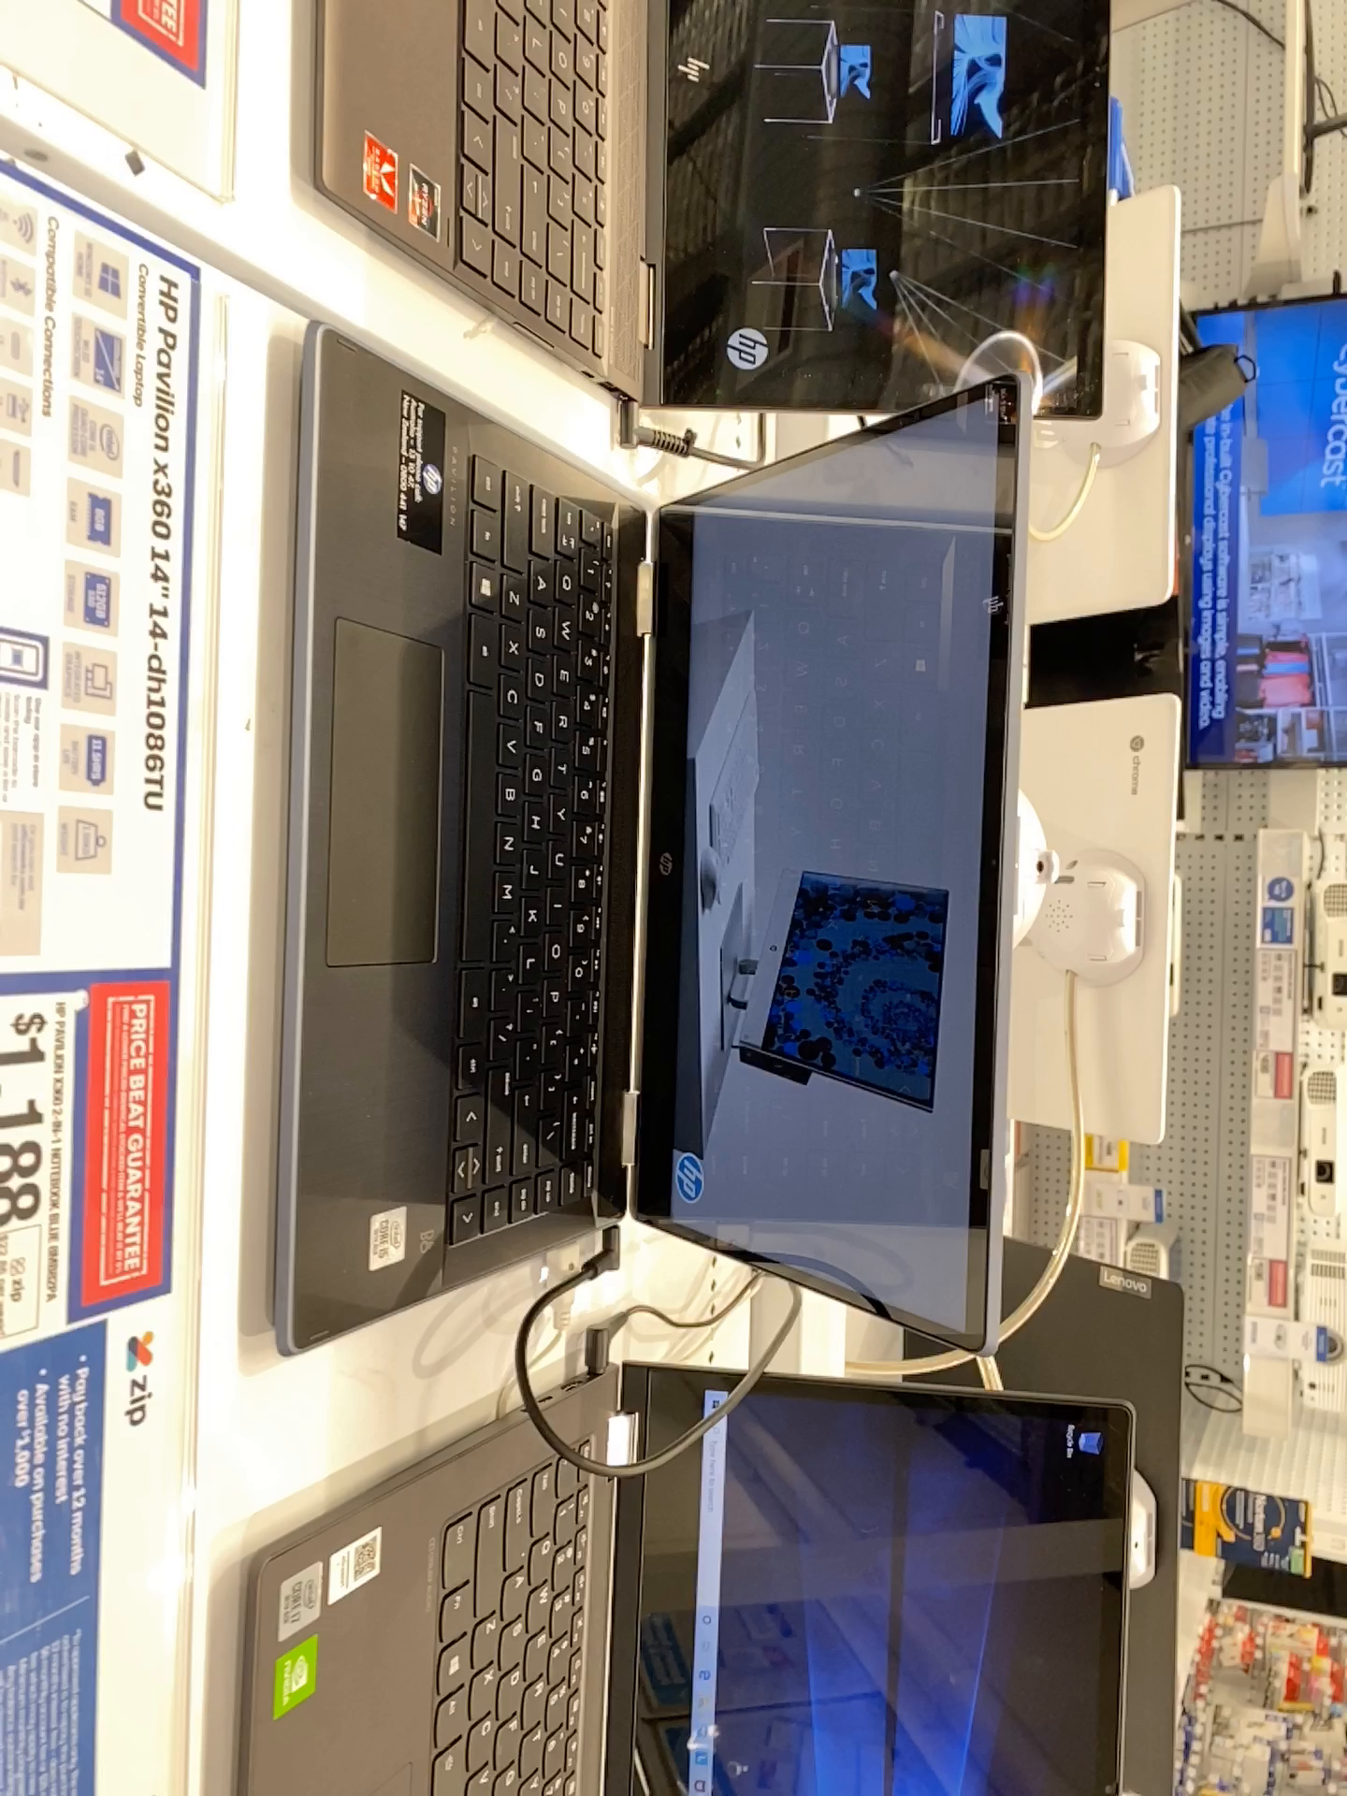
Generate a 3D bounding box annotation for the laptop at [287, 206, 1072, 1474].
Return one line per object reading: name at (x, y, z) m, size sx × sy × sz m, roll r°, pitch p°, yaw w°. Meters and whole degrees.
laptop at (0.017, -0.015, 0.478) m, size 0.212 × 0.189 × 0.313 m, roll 1°, pitch 91°, yaw -63°

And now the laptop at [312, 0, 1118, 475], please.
laptop at (0.047, -0.379, 0.533) m, size 0.326 × 0.173 × 0.325 m, roll 3°, pitch 87°, yaw -61°

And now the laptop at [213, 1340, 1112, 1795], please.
laptop at (0.027, 0.366, 0.499) m, size 0.296 × 0.199 × 0.306 m, roll 7°, pitch 84°, yaw -62°
